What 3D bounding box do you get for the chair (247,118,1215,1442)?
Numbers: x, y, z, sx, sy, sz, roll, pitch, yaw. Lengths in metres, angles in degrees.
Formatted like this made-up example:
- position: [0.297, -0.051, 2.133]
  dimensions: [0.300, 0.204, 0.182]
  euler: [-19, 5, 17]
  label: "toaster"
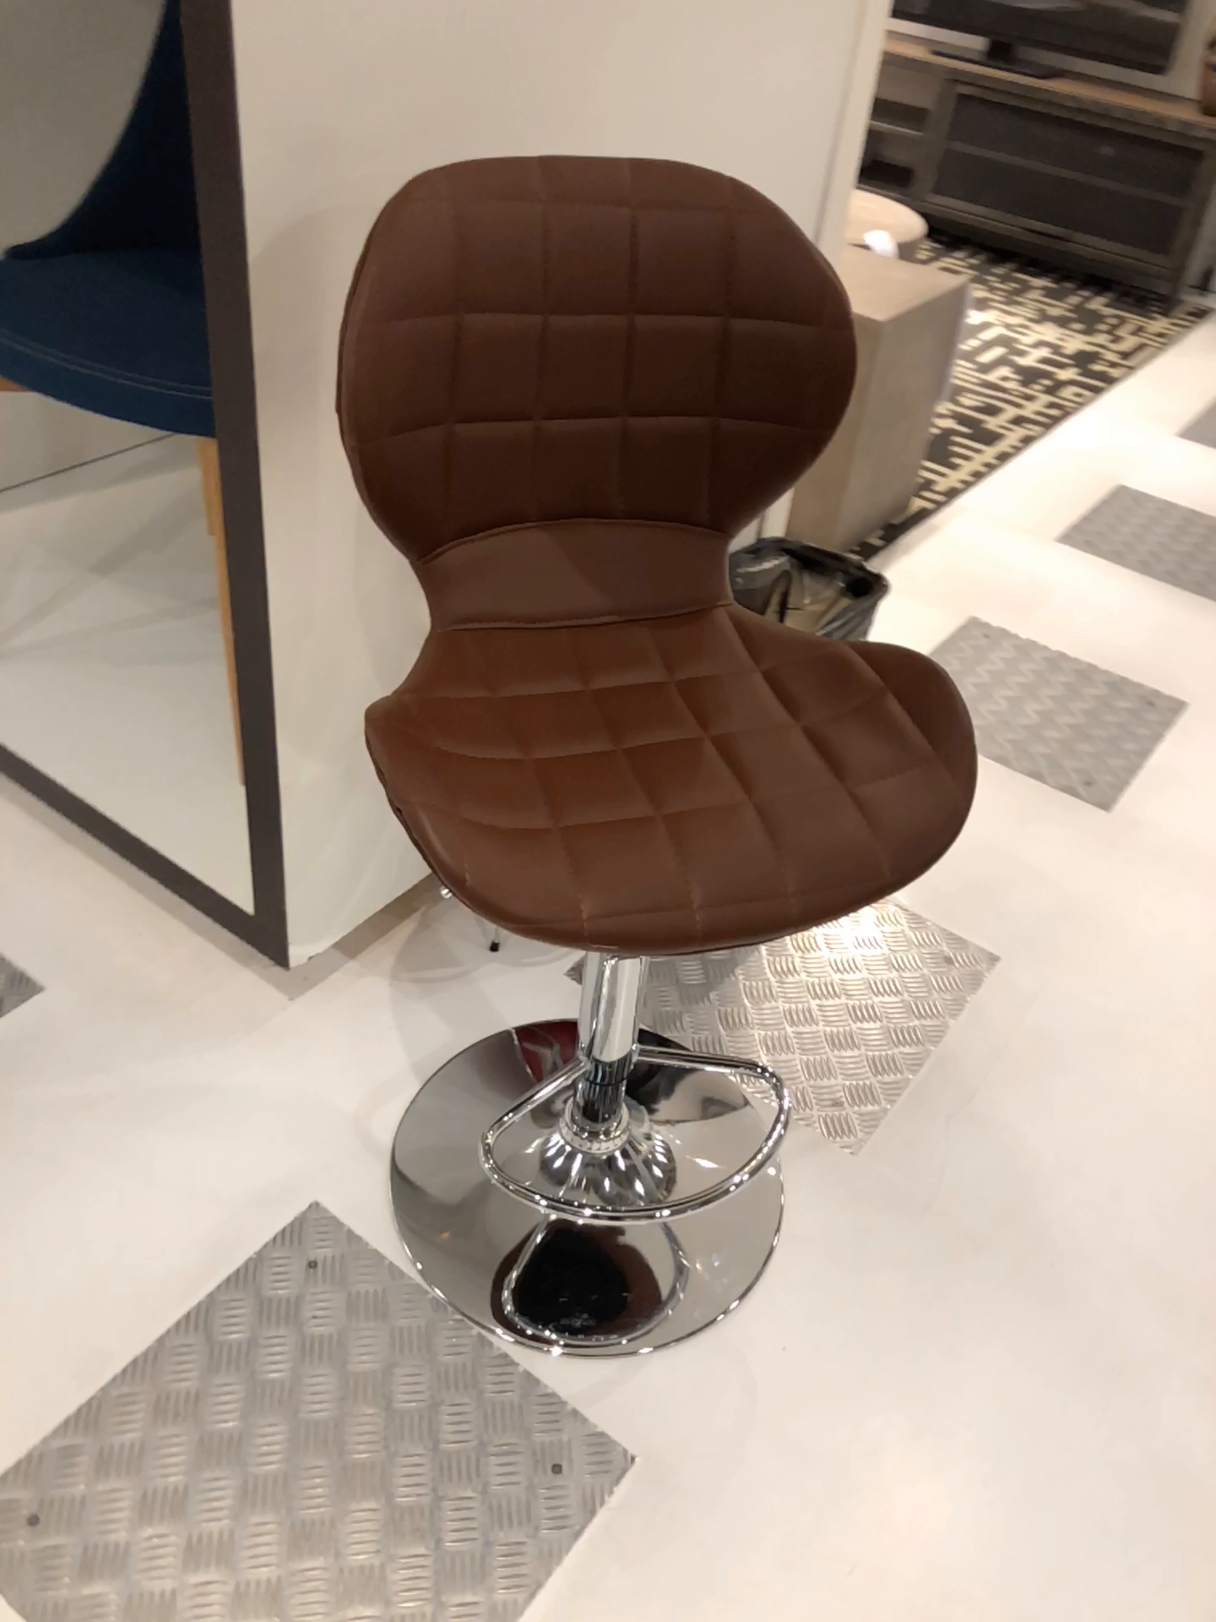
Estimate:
- position: [0.020, 0.004, 1.109]
  dimensions: [0.541, 0.923, 0.493]
  euler: [-4, 39, -14]
  label: "chair"
